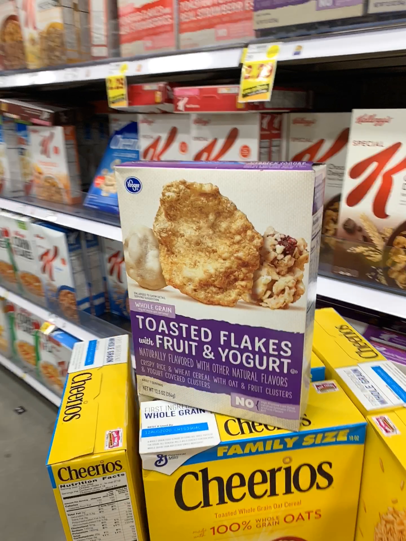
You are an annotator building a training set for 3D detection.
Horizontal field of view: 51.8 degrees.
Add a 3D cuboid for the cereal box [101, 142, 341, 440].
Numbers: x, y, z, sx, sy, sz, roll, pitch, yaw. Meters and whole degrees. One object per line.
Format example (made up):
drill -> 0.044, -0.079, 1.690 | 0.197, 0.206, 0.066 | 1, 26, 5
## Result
cereal box -> 0.017, 0.016, 0.413 | 0.200, 0.269, 0.060 | 7, 23, 20
